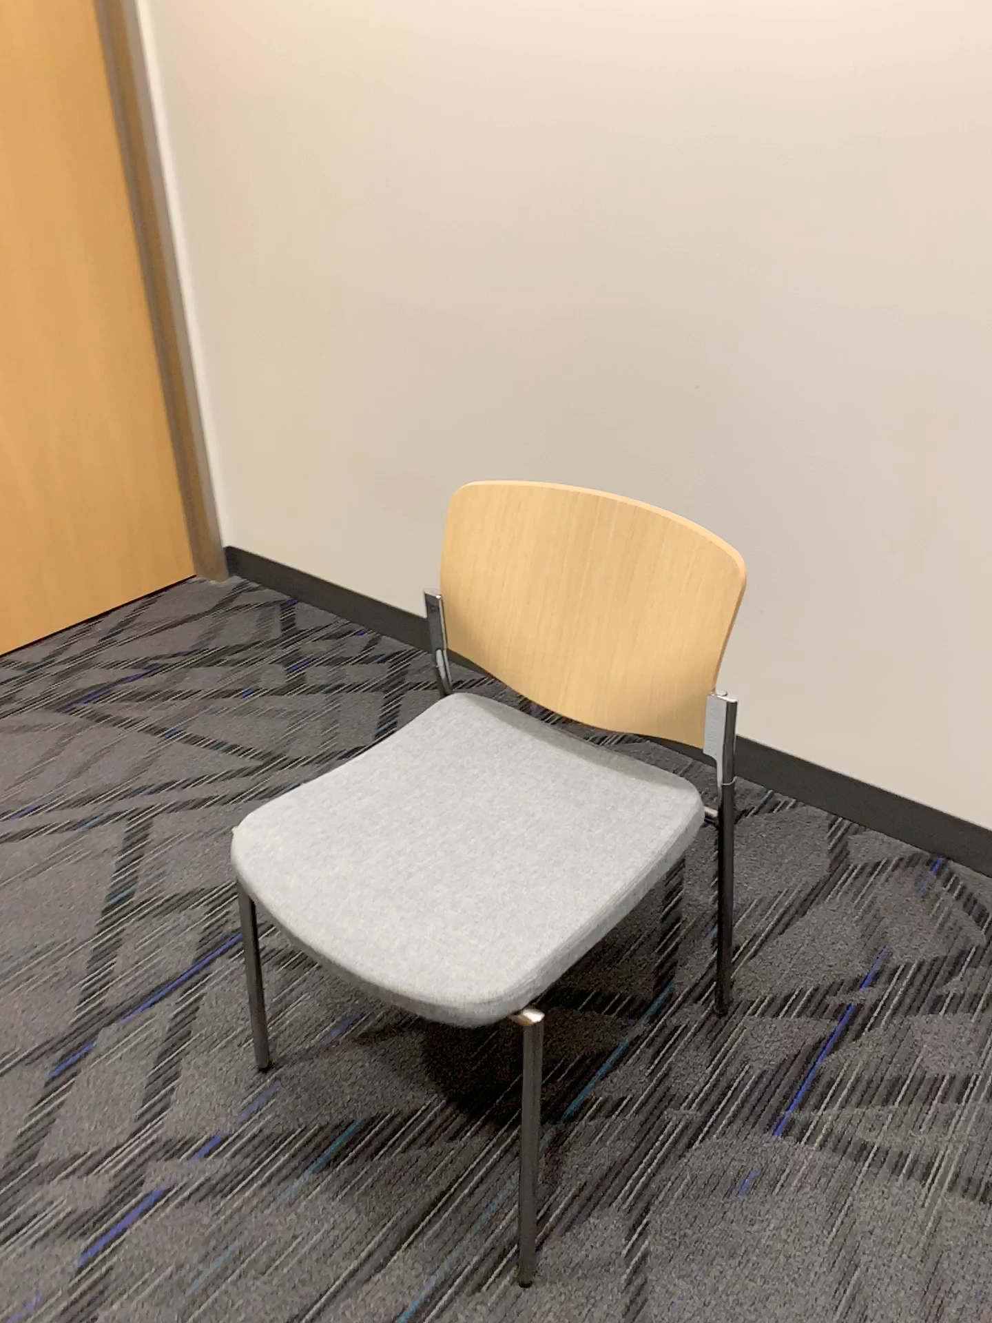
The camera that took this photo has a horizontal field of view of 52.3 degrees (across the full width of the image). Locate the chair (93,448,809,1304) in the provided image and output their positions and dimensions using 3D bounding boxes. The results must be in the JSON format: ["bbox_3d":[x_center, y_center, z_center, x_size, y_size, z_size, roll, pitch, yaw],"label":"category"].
[{"bbox_3d":[-0.029,0.198,1.256,0.555,0.704,0.538,20,36,33],"label":"chair"}]
